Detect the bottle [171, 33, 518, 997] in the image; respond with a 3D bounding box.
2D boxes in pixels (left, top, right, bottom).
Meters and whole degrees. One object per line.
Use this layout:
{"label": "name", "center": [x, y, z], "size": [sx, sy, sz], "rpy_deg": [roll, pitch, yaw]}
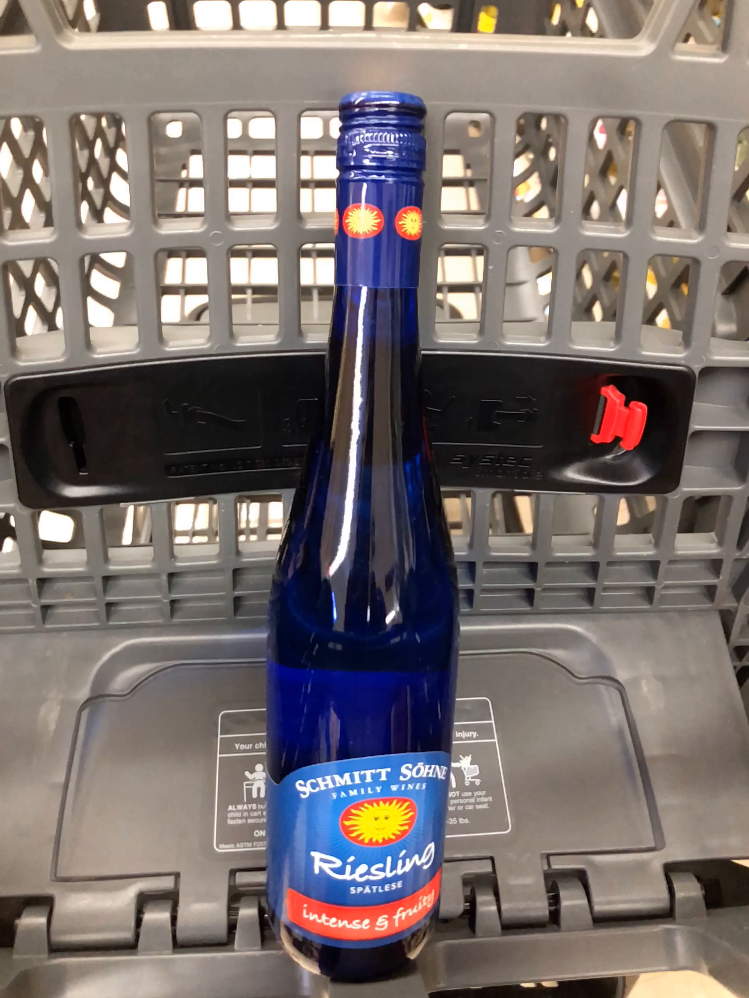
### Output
{"label": "bottle", "center": [-0.016, 0.024, 0.332], "size": [0.100, 0.100, 0.350], "rpy_deg": [-2, 106, -8]}
